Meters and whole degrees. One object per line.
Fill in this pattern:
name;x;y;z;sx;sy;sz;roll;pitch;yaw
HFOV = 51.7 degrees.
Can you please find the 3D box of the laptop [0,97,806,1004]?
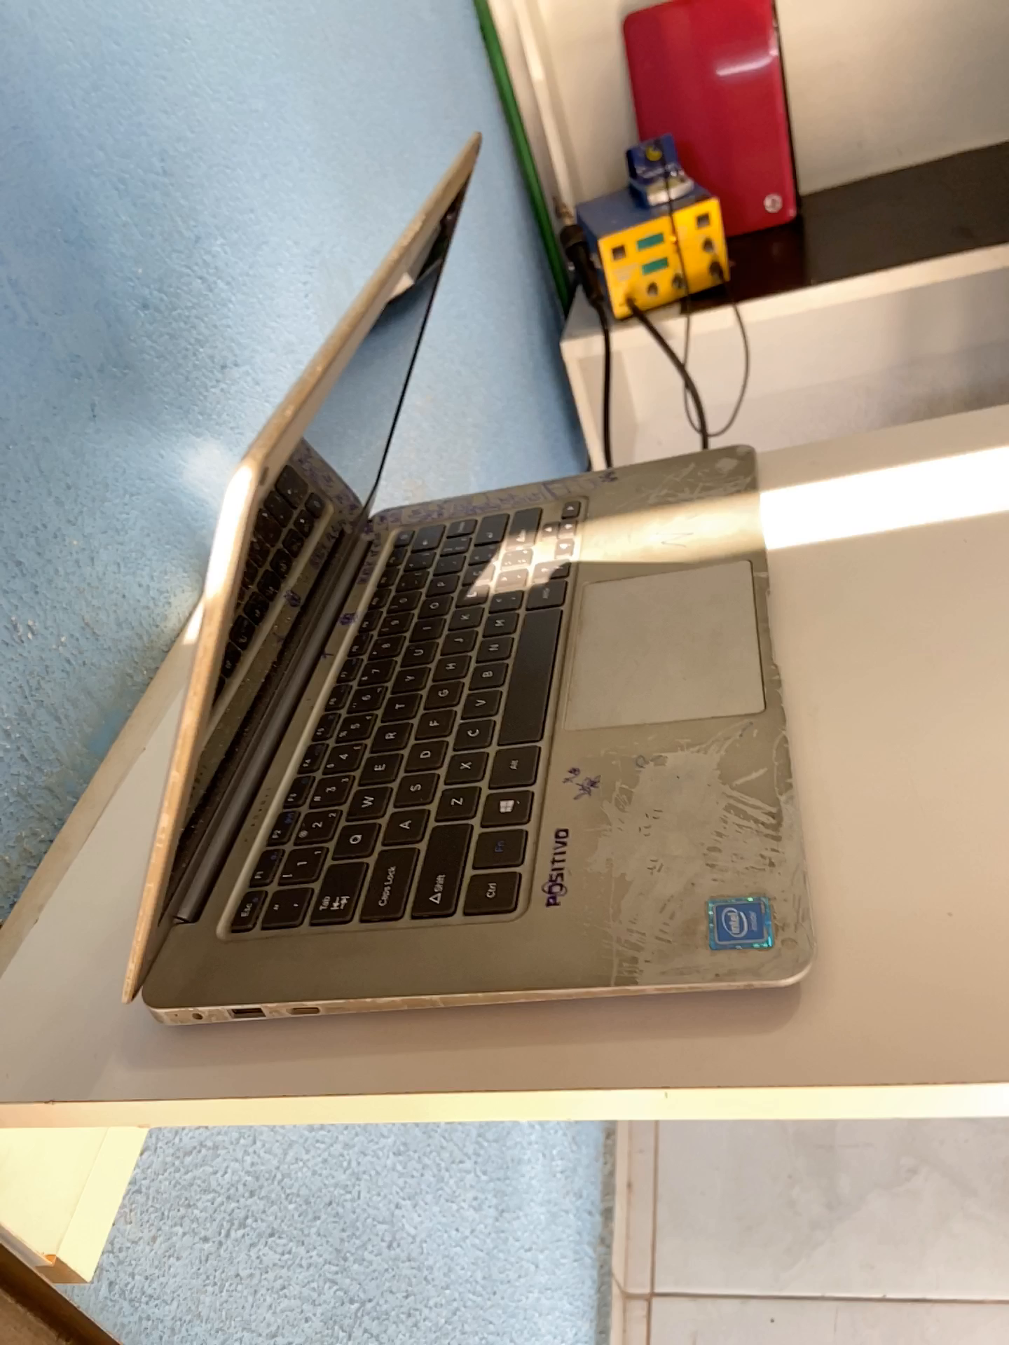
laptop;-0.020;-0.070;0.396;0.212;0.167;0.328;-8;36;16
